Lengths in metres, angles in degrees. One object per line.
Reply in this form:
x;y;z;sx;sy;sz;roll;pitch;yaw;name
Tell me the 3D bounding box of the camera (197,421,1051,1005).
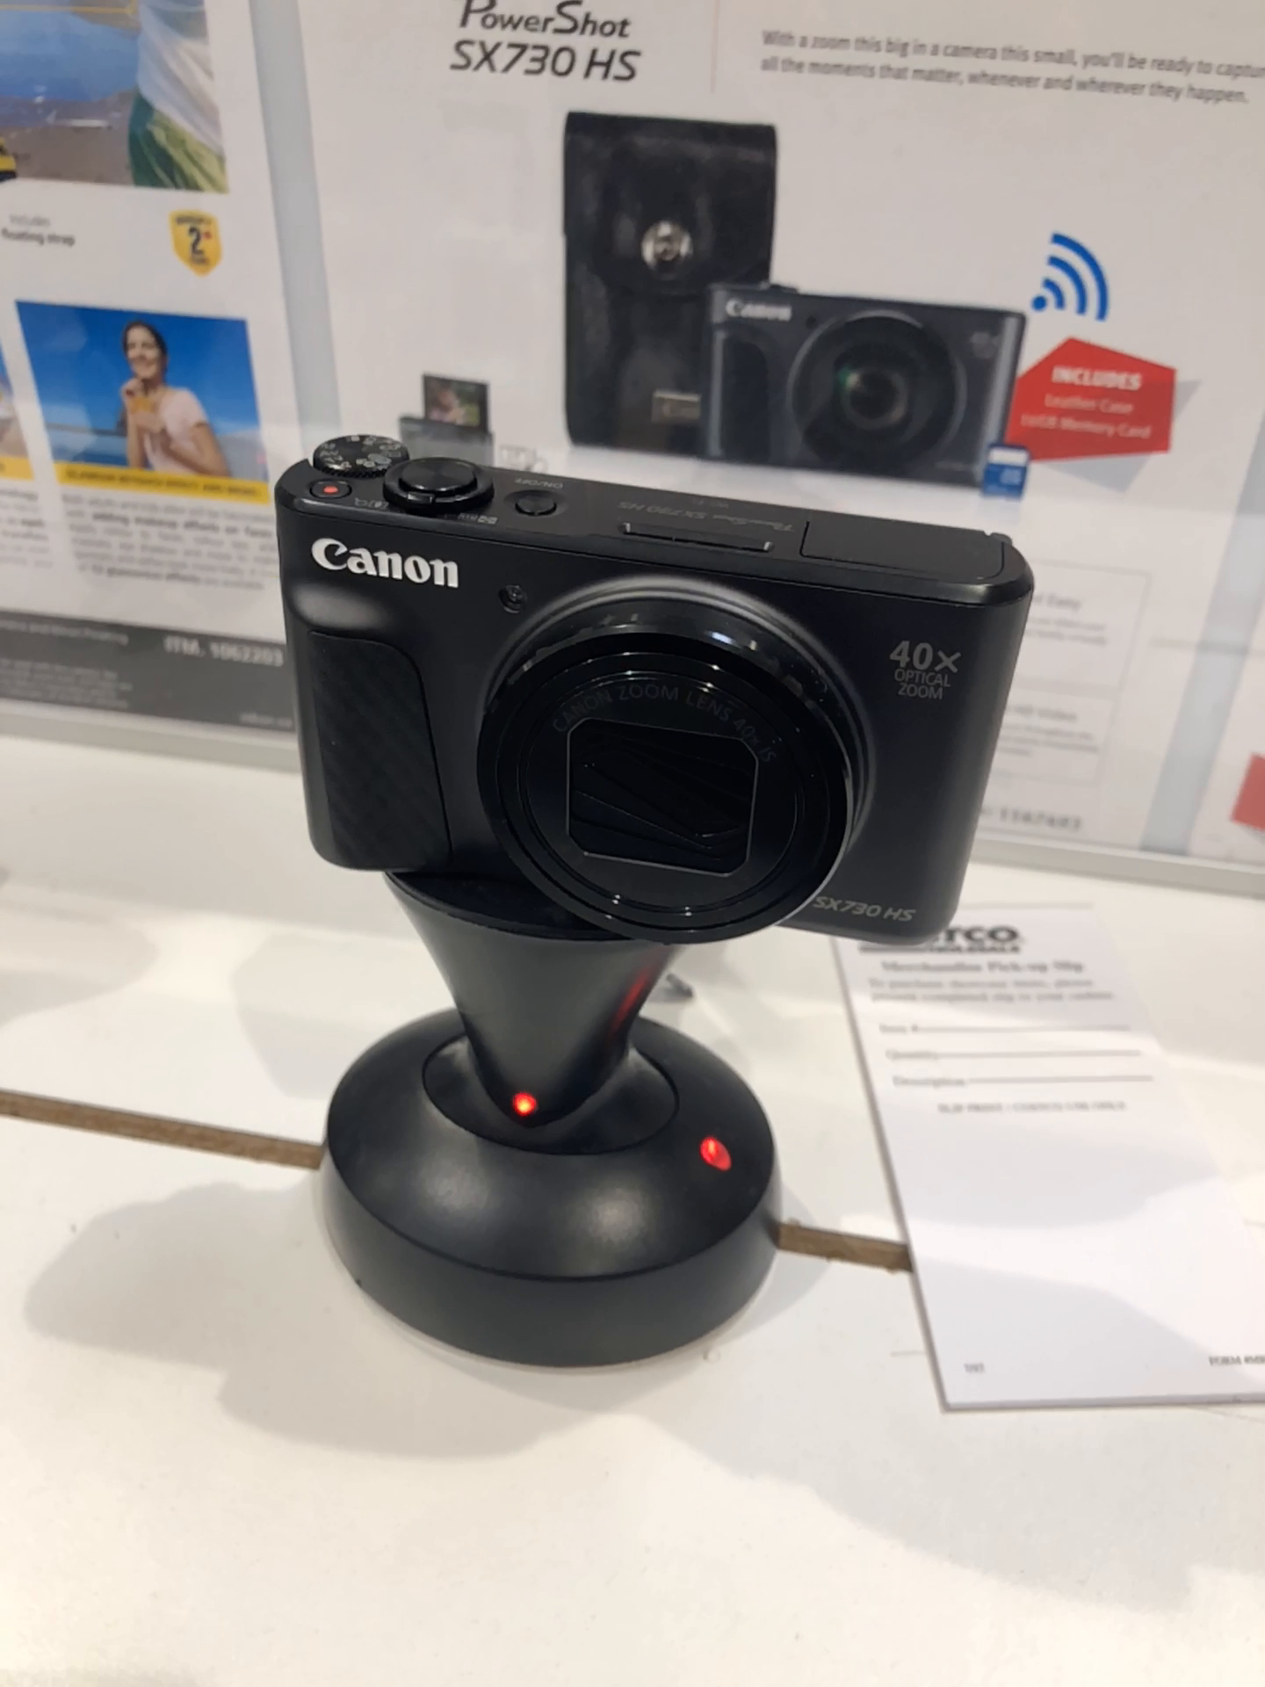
0.000;-0.021;0.210;0.110;0.060;0.040;9;37;10;camera
